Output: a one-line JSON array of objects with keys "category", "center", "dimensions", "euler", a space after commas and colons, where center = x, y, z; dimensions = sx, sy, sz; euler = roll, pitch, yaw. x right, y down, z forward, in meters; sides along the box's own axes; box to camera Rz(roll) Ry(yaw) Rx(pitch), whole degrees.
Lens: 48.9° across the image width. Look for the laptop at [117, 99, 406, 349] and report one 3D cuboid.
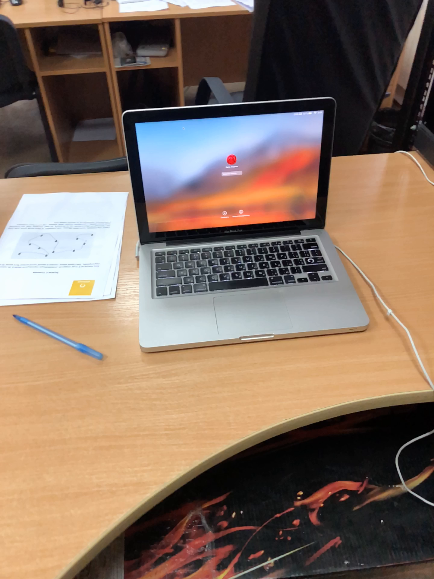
[{"category": "laptop", "center": [0.037, -0.104, 0.676], "dimensions": [0.315, 0.207, 0.267], "euler": [-6, 43, -5]}]
